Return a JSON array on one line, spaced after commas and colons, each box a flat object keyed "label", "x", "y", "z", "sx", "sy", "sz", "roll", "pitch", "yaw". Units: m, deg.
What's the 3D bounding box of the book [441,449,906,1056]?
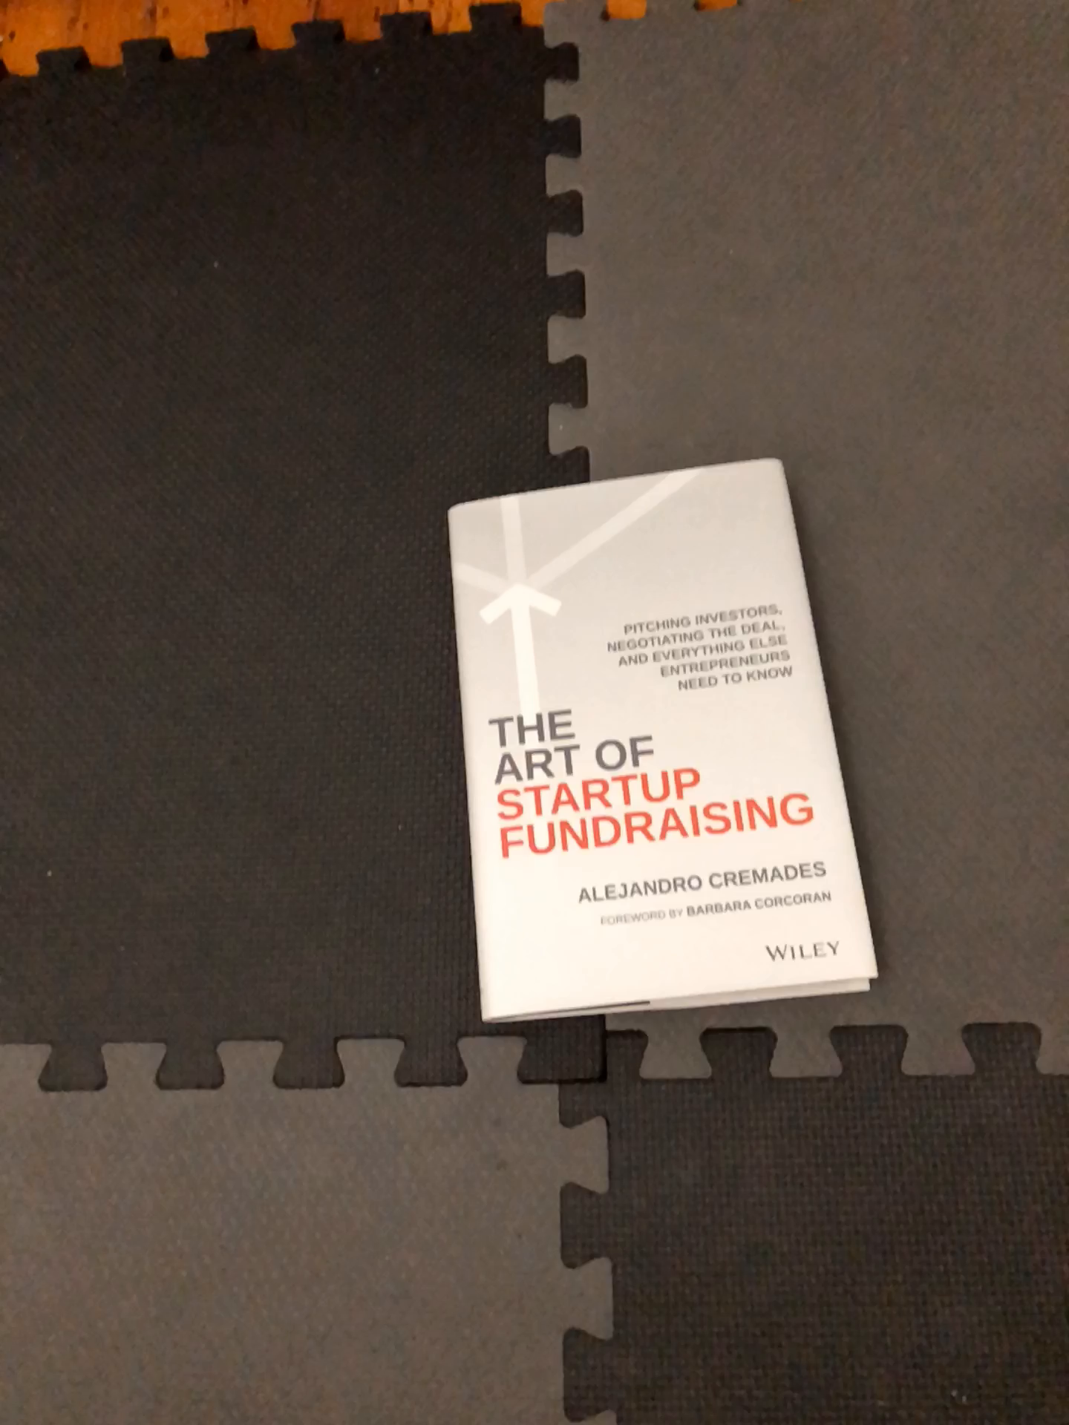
[{"label": "book", "x": 0.051, "y": 0.012, "z": 0.511, "sx": 0.170, "sy": 0.030, "sz": 0.250, "roll": -6, "pitch": 70, "yaw": 5}]
